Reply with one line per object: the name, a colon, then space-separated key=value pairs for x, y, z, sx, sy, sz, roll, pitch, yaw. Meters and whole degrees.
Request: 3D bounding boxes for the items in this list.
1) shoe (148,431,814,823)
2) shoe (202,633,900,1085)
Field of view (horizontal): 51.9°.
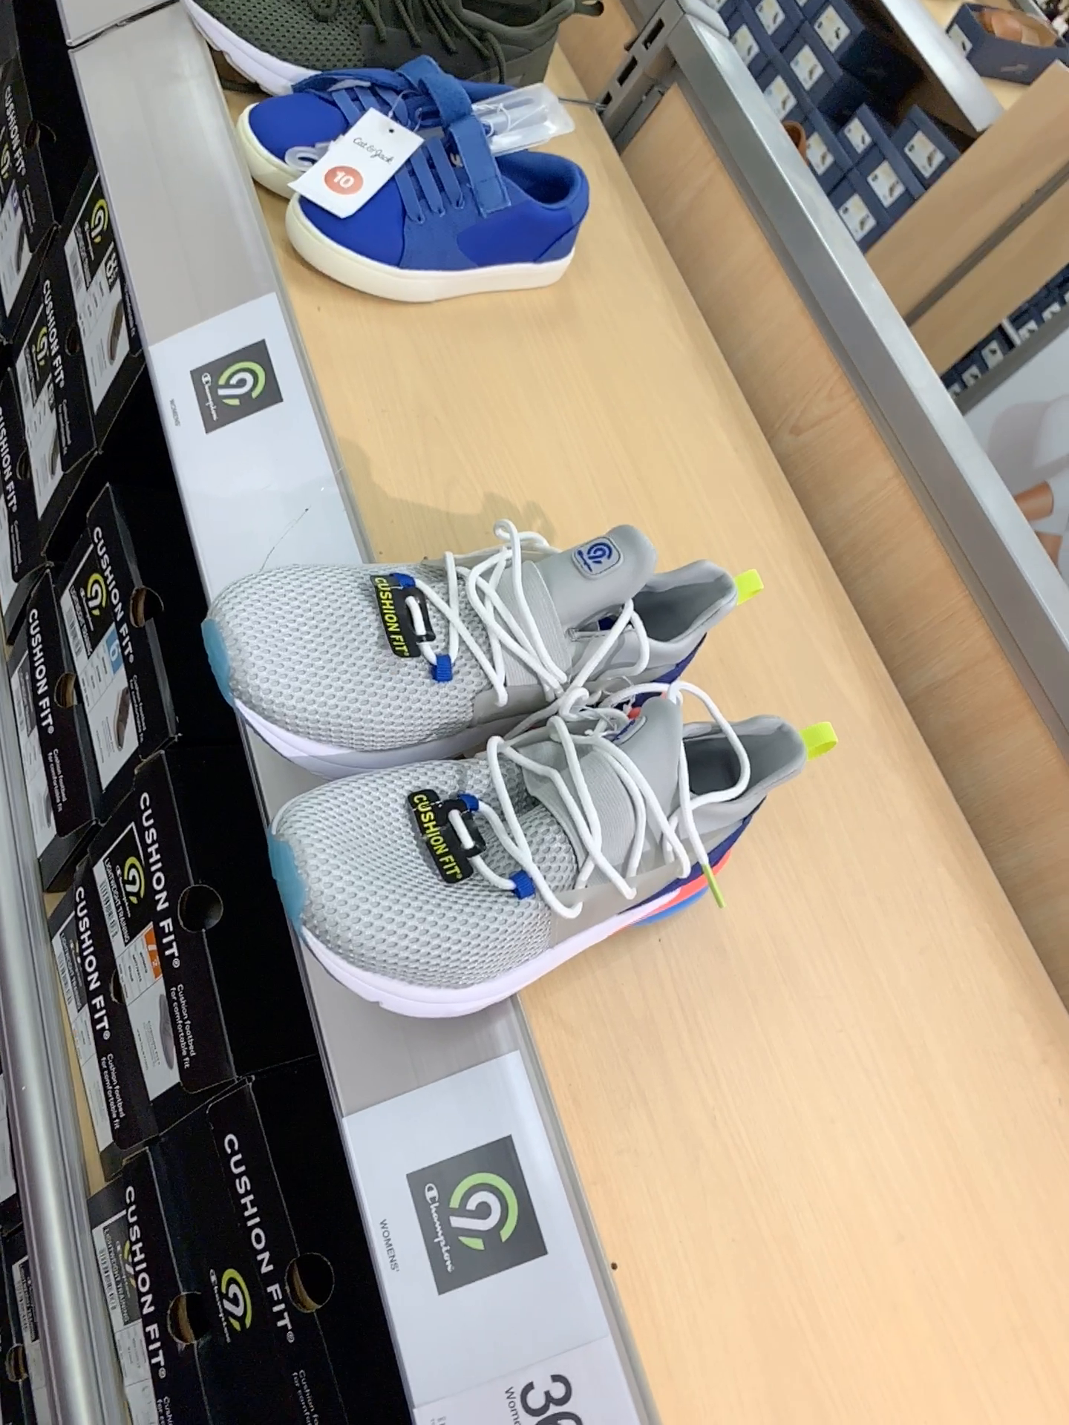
shoe: x=-0.012 y=-0.029 z=0.486 sx=0.271 sy=0.090 sz=0.110 roll=0 pitch=60 yaw=-41
shoe: x=0.022 y=0.043 z=0.453 sx=0.271 sy=0.090 sz=0.110 roll=-7 pitch=65 yaw=-44
